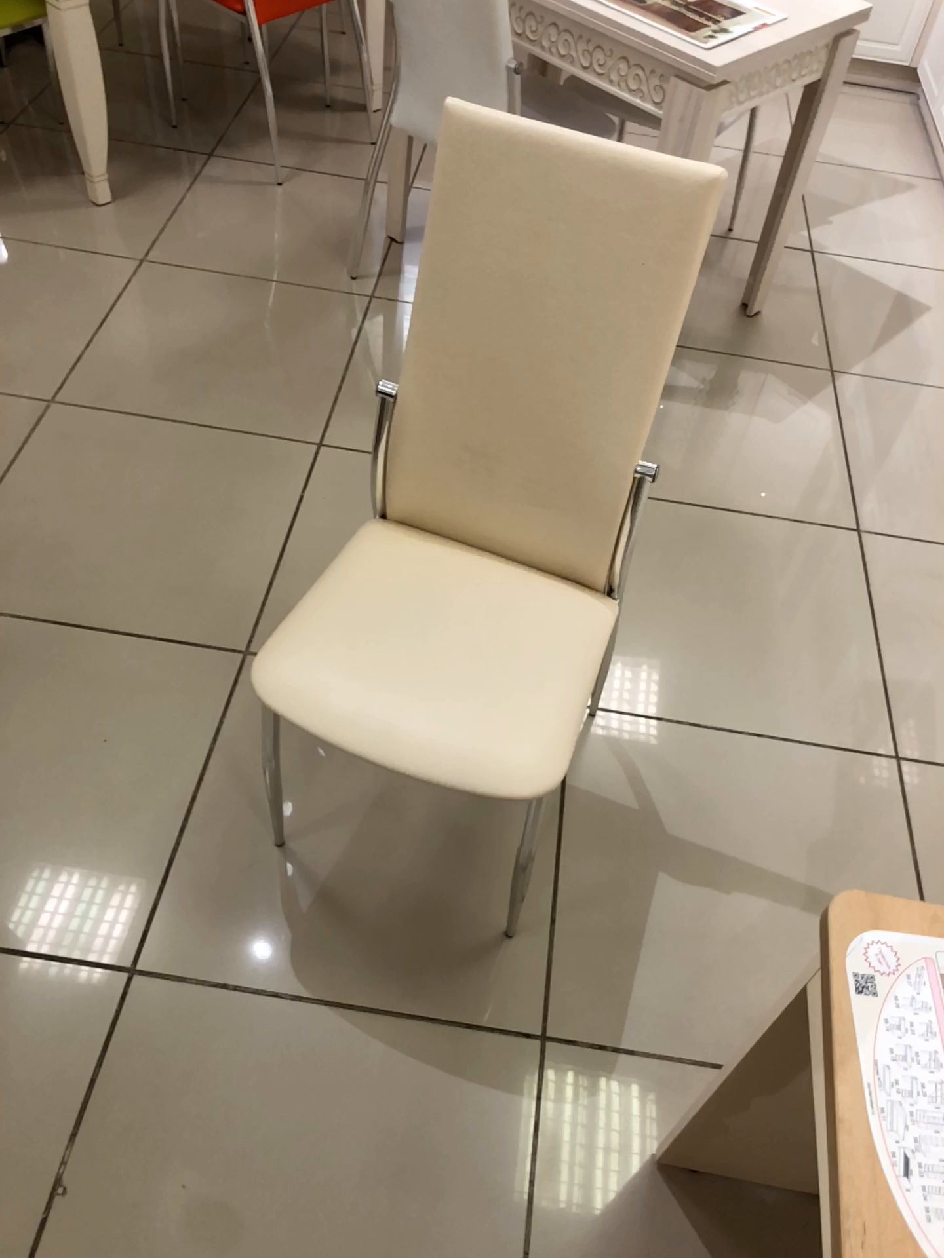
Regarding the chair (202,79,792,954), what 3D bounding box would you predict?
[{"bbox_3d":[0.012,-0.079,1.378,0.430,0.976,0.502,20,49,10],"label":"chair"}]
